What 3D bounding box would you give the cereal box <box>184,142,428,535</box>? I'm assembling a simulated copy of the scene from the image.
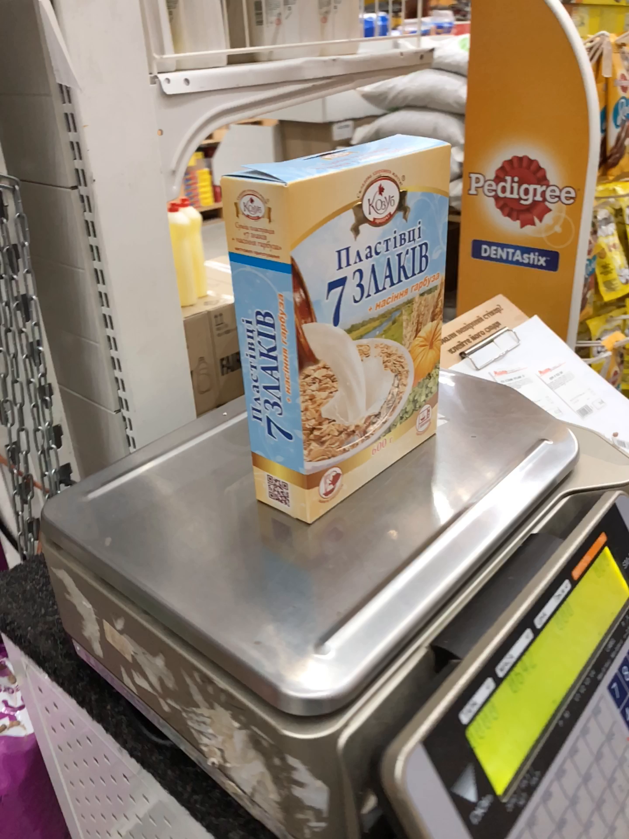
[{"bbox_3d":[0.004,-0.062,0.485,0.060,0.228,0.161,21,36,37],"label":"cereal box"}]
